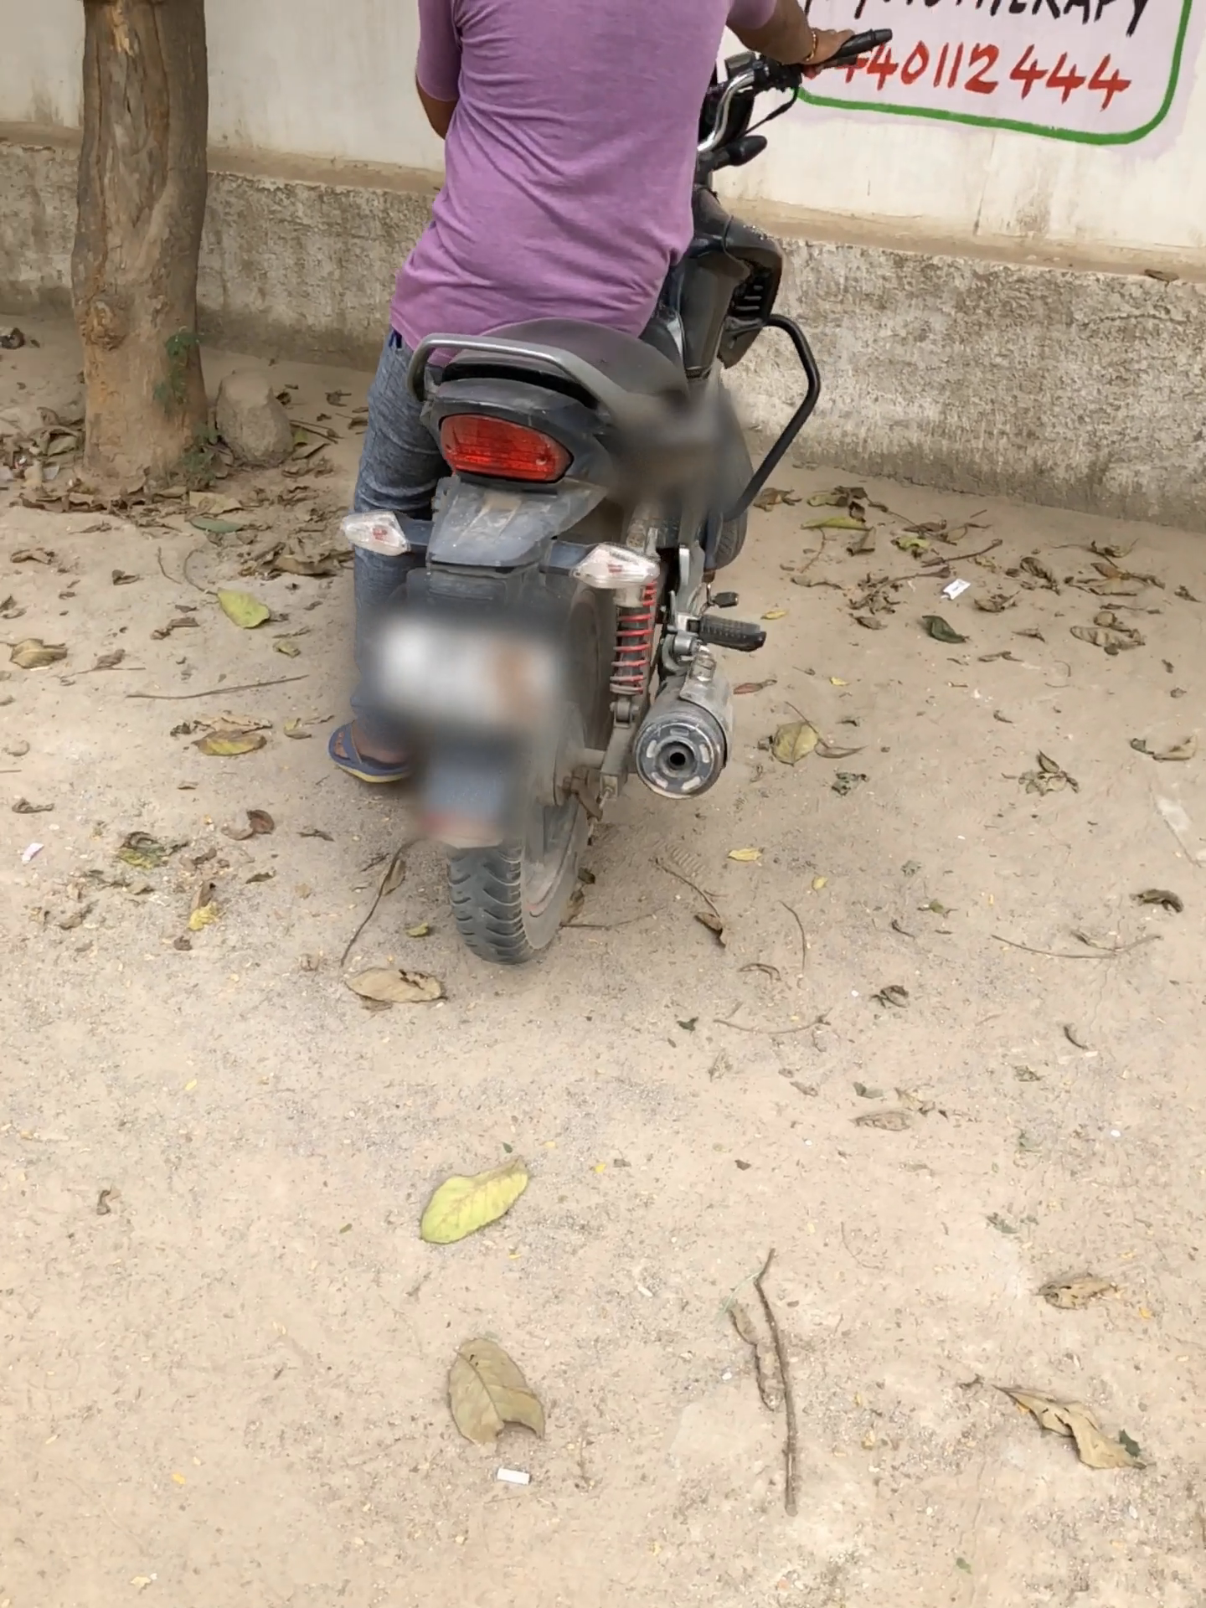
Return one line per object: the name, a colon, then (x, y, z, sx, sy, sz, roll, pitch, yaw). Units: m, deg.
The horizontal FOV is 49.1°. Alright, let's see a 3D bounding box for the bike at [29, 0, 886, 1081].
bike: (-0.110, -0.729, 2.287, 0.823, 1.190, 1.851, 4, 34, 3)
